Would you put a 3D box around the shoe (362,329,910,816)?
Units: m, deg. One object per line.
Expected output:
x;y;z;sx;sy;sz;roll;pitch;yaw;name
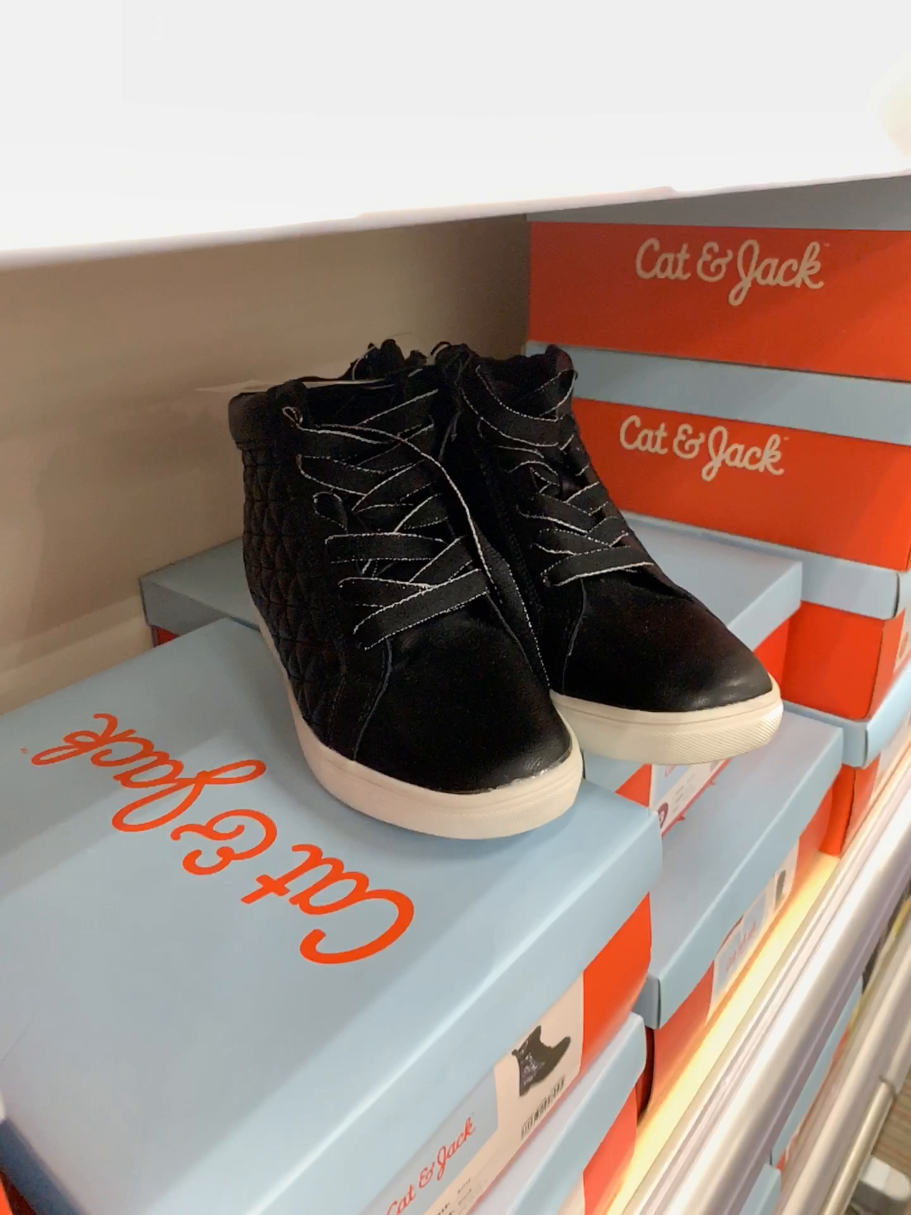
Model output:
0.055;-0.037;0.397;0.100;0.109;0.231;-14;30;-25;shoe

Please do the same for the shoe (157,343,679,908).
-0.033;-0.019;0.373;0.100;0.119;0.231;-14;30;-25;shoe
